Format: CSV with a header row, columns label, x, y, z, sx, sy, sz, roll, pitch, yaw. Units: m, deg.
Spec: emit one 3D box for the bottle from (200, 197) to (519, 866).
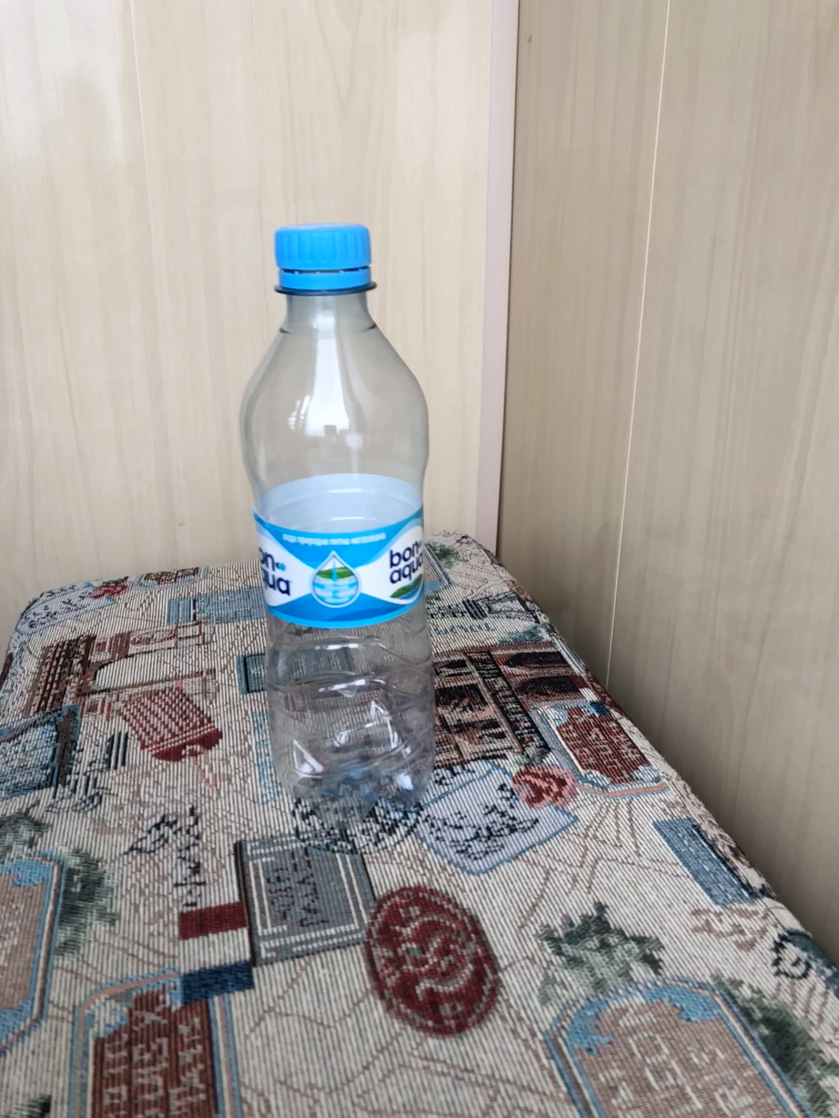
label,x,y,z,sx,sy,sz,roll,pitch,yaw
bottle,-0.021,-0.013,0.321,0.070,0.209,0.080,-12,25,-26
